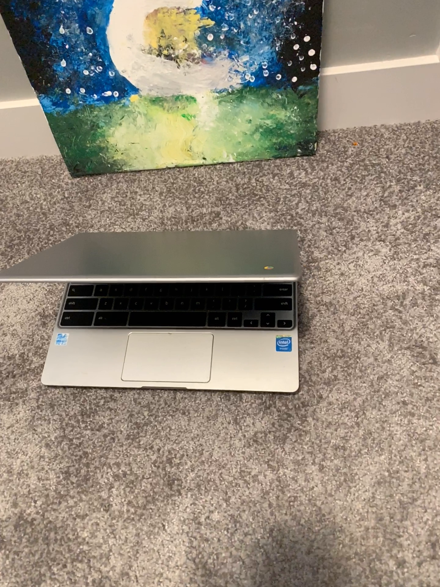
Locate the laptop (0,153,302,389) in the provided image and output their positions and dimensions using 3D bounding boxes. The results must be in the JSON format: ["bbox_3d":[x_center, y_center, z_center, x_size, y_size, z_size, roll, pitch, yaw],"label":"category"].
[{"bbox_3d":[-0.066,-0.018,0.485,0.294,0.144,0.200,0,62,8],"label":"laptop"}]
